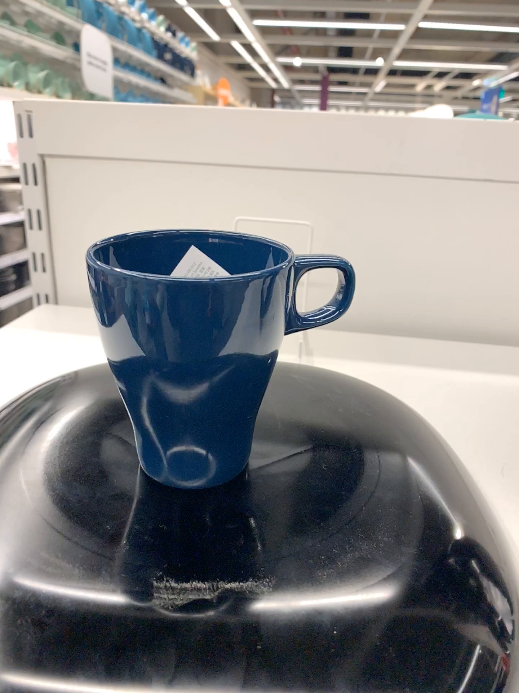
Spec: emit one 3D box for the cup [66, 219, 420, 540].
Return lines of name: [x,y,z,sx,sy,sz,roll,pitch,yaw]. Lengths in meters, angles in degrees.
cup: [-0.012,0.001,0.242,0.120,0.100,0.090,-8,22,-27]
